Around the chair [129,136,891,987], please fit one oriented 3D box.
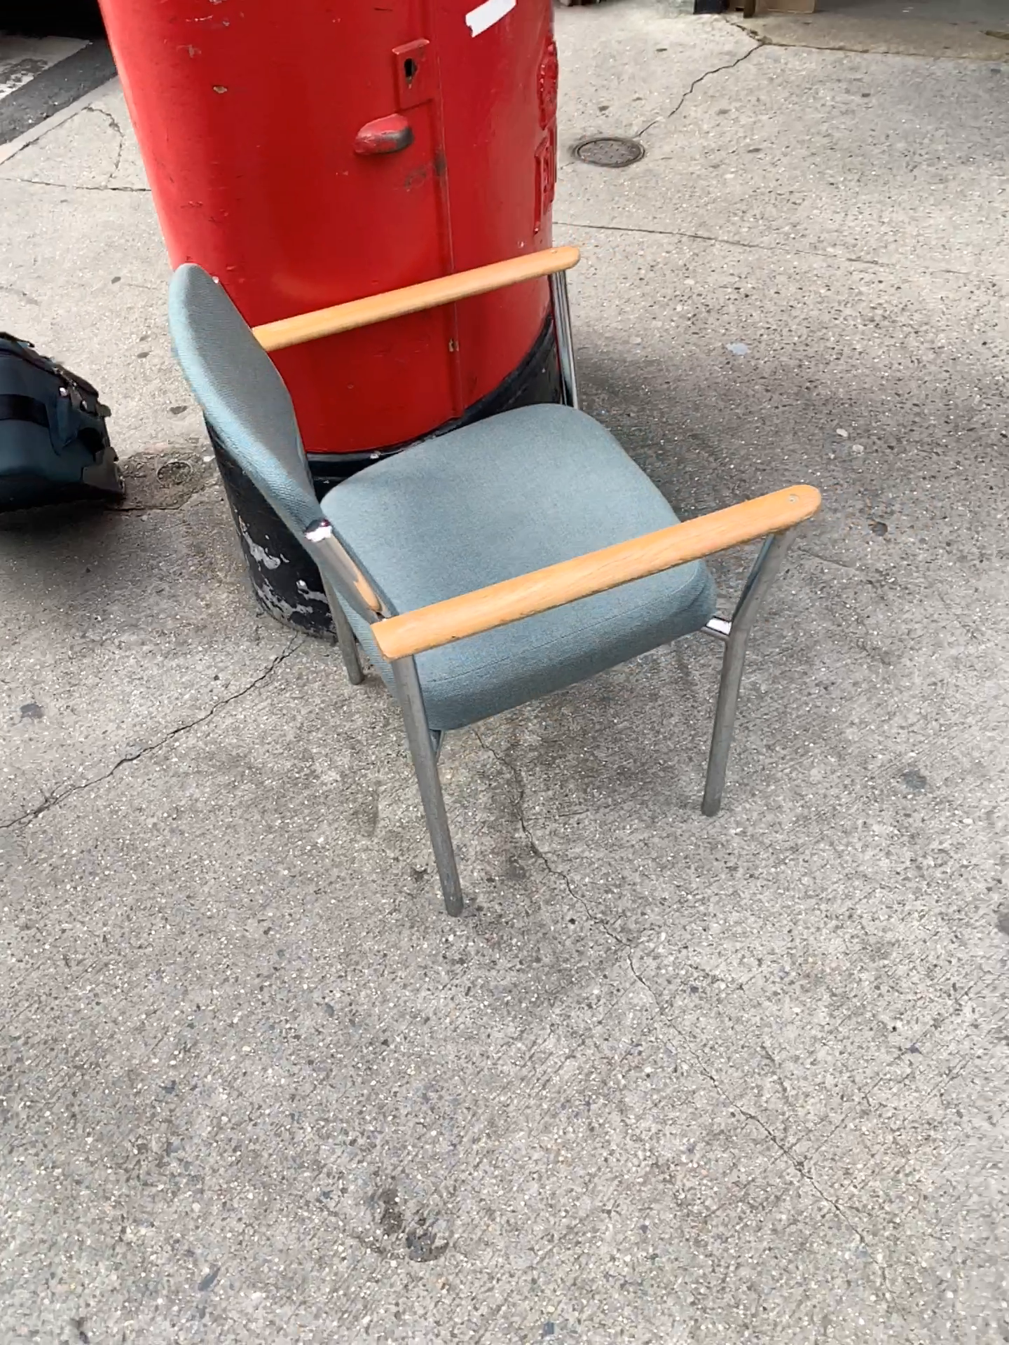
[{"bbox_3d":[-0.026,-0.128,1.270,0.570,0.740,0.561,-18,50,-14],"label":"chair"}]
